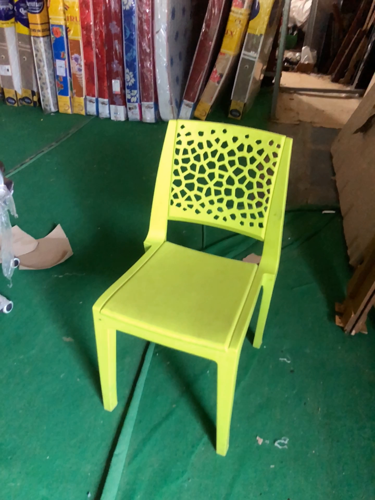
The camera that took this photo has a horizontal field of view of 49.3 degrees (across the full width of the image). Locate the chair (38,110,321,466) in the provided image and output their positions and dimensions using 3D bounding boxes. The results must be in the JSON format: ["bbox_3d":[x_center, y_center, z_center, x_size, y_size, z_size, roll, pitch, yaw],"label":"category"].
[{"bbox_3d":[0.031,0.063,1.277,0.530,0.776,0.644,13,34,19],"label":"chair"}]
